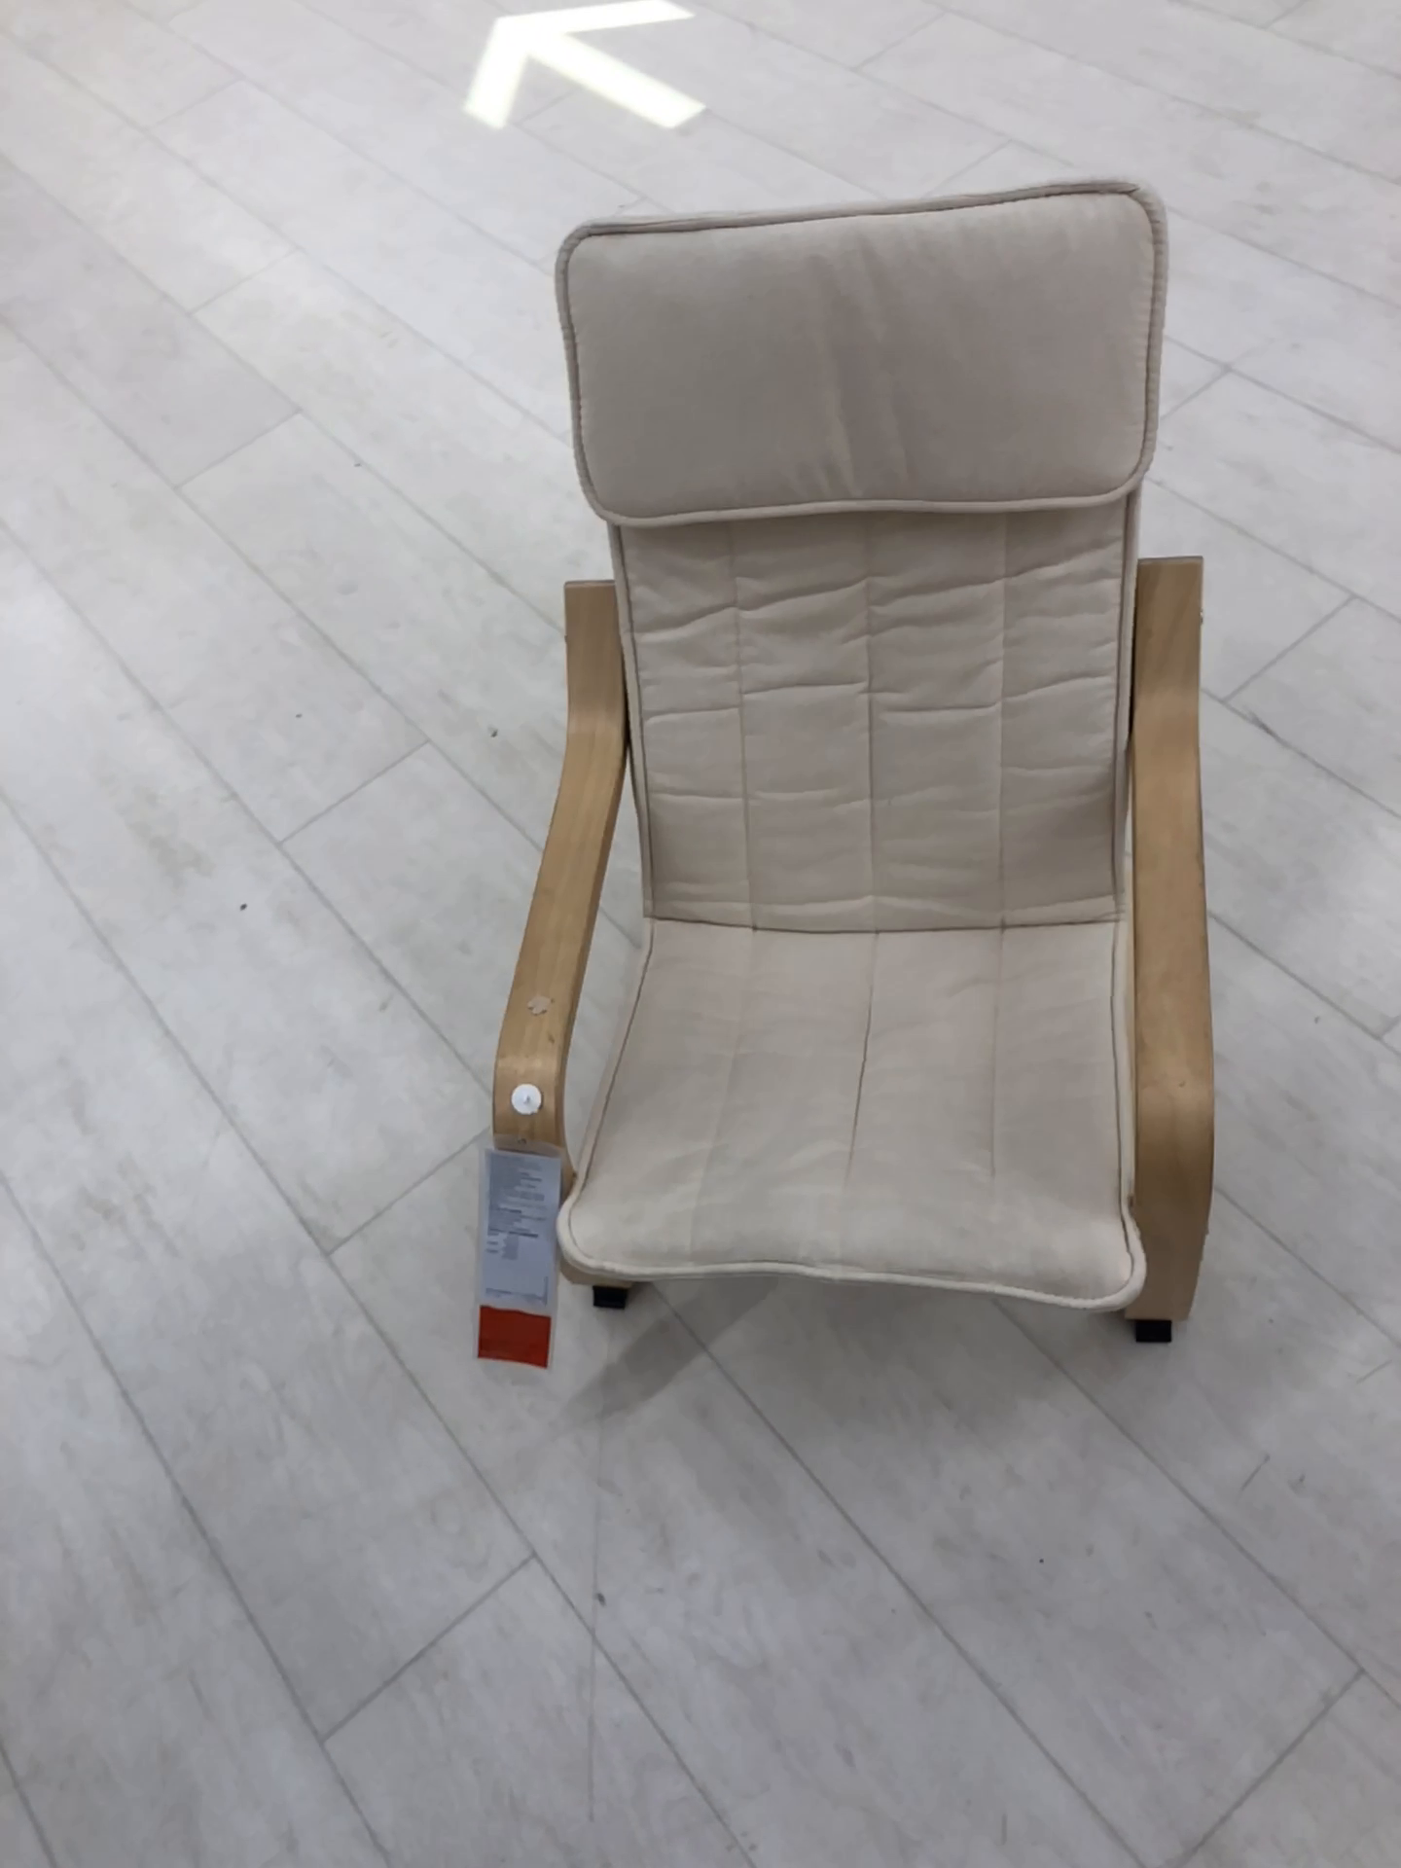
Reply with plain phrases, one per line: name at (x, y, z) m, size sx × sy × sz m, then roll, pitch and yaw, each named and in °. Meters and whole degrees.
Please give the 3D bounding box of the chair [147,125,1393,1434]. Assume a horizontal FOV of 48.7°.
chair at (0.095, -0.050, 1.085) m, size 0.530 × 0.688 × 0.561 m, roll 0°, pitch 56°, yaw 11°
